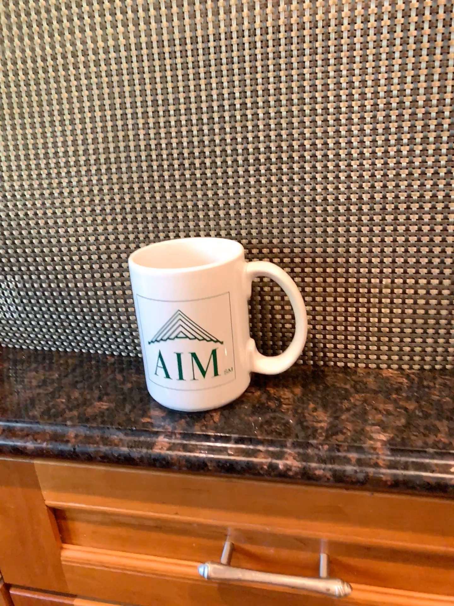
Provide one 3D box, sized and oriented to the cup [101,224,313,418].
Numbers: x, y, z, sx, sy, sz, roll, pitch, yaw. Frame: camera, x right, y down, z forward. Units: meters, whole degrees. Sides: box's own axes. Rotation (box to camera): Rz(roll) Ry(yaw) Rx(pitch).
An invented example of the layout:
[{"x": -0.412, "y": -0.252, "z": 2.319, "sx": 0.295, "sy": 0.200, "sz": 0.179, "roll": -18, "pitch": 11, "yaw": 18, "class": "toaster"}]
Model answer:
[{"x": -0.008, "y": 0.010, "z": 0.347, "sx": 0.130, "sy": 0.109, "sz": 0.090, "roll": -3, "pitch": 21, "yaw": 4, "class": "cup"}]
